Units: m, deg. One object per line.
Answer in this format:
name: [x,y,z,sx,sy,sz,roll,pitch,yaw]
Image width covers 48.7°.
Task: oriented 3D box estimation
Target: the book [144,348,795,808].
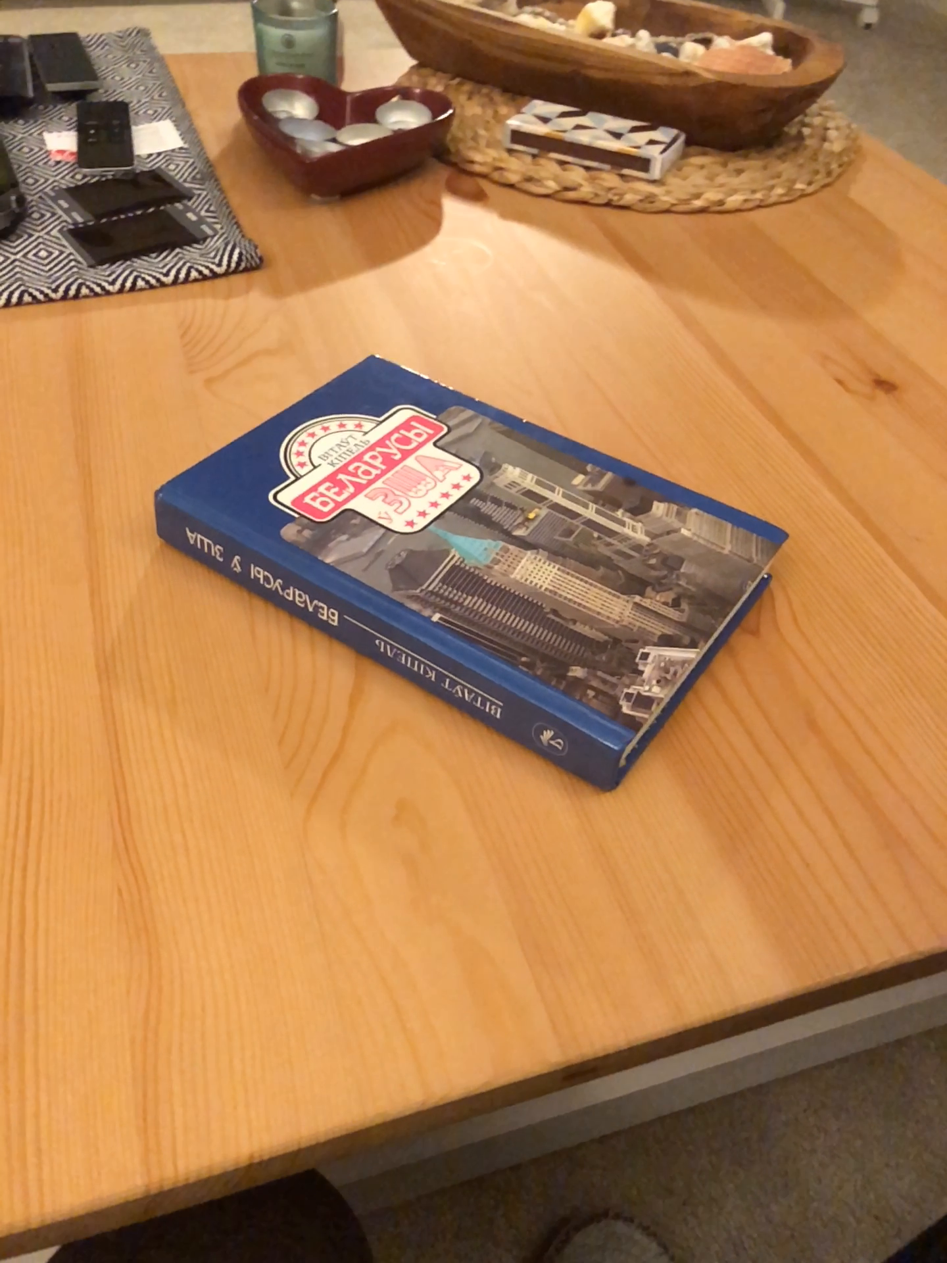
book: [-0.001,-0.039,0.439,0.224,0.030,0.147,28,49,21]
